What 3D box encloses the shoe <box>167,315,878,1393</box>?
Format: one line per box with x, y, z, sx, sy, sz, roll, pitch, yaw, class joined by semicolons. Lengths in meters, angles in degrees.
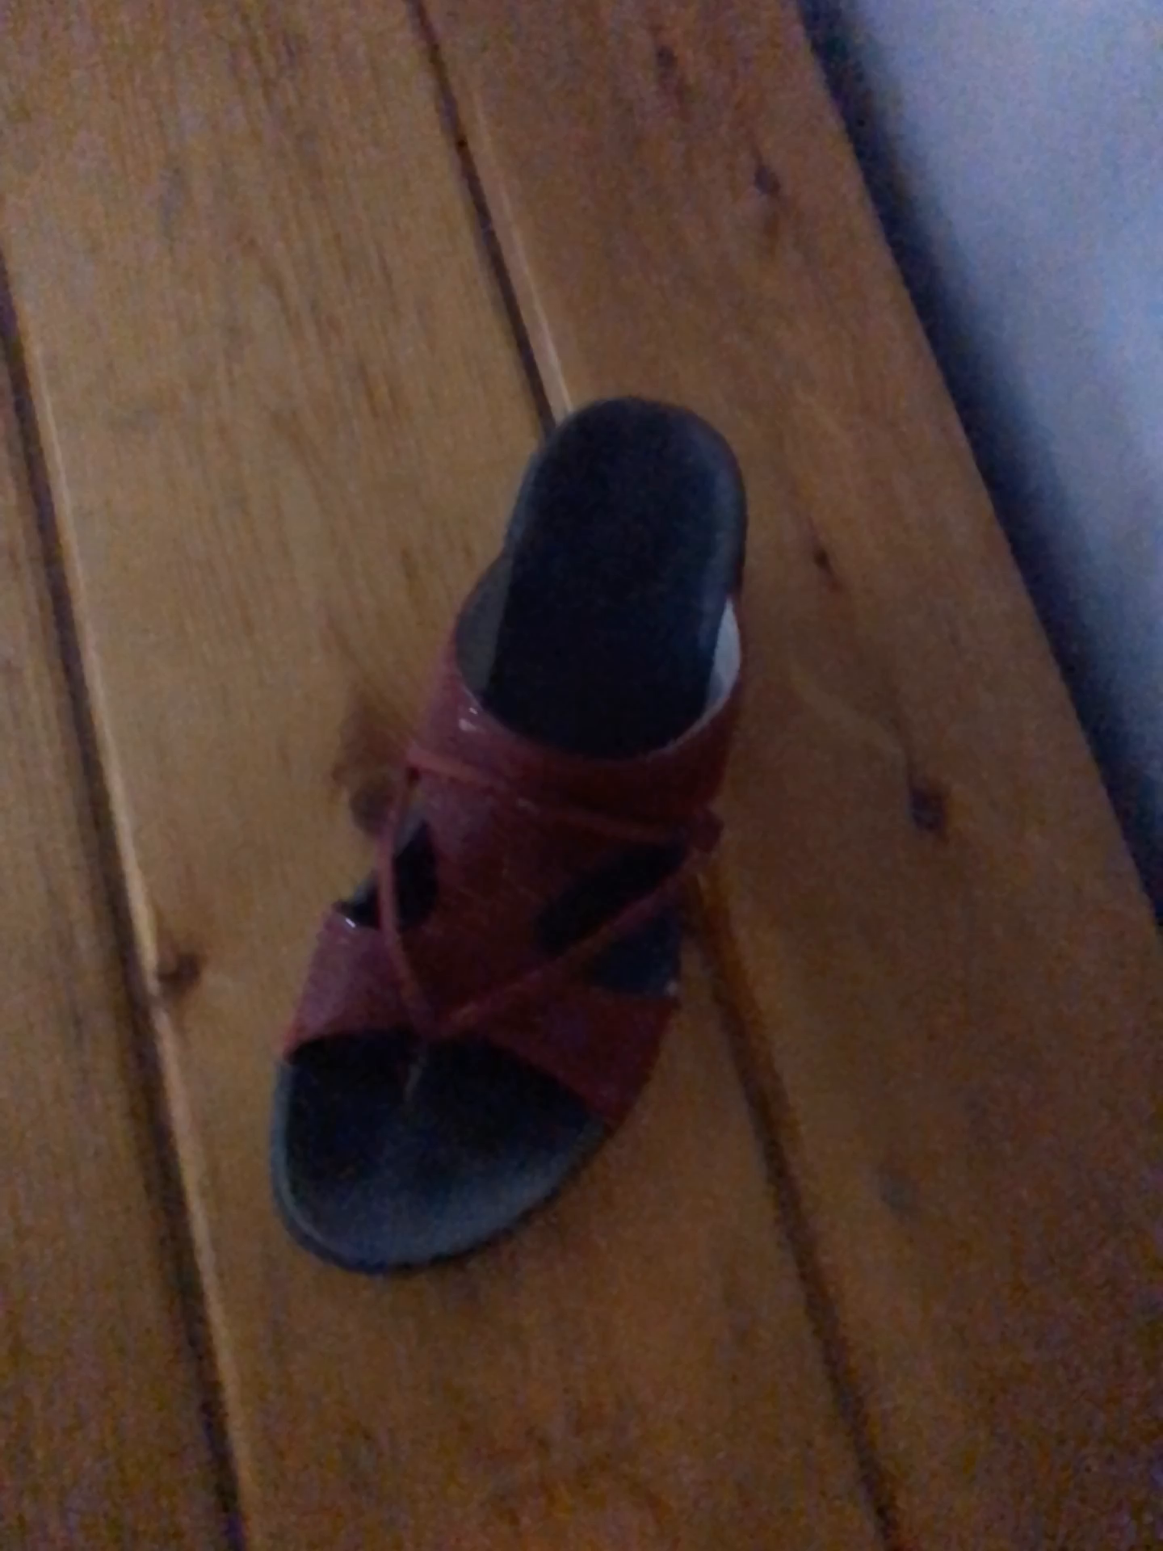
-0.007;0.013;0.345;0.100;0.070;0.250;18;71;-1;shoe
